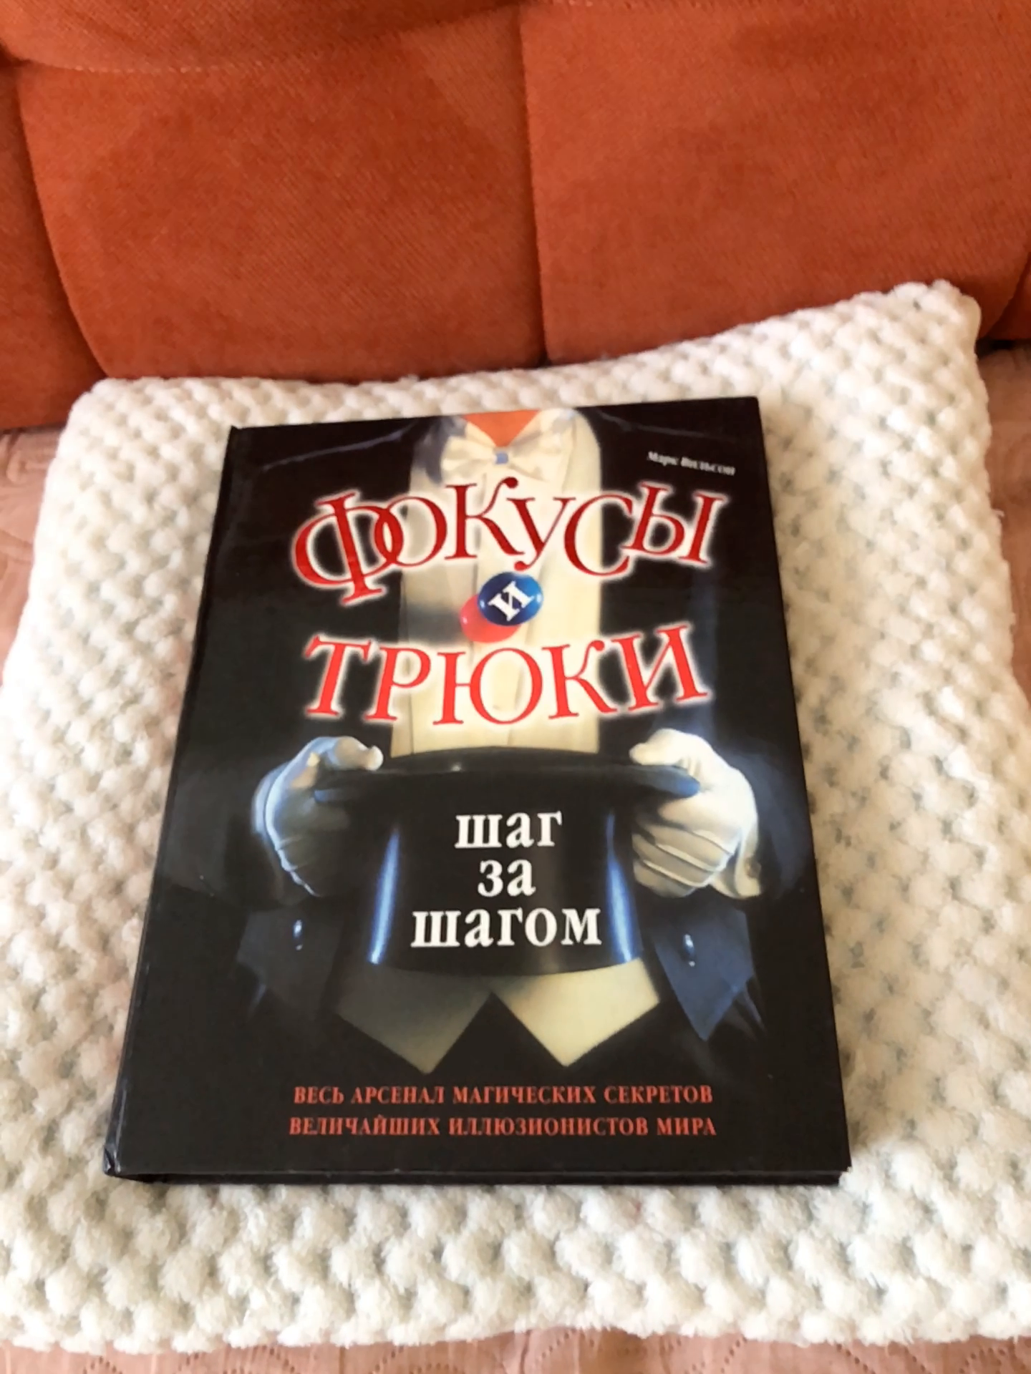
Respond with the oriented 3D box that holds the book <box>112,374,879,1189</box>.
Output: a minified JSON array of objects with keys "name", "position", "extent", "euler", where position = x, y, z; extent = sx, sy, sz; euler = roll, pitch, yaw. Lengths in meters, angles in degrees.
[{"name":"book","position":[-0.006,0.017,0.380],"extent":[0.200,0.040,0.271],"euler":[-3,60,5]}]
